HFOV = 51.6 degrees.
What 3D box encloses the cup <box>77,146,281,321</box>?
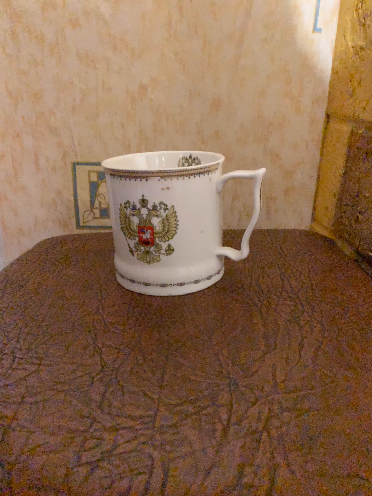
[{"bbox_3d":[0.001,-0.022,0.305,0.126,0.098,0.100,8,22,18],"label":"cup"}]
